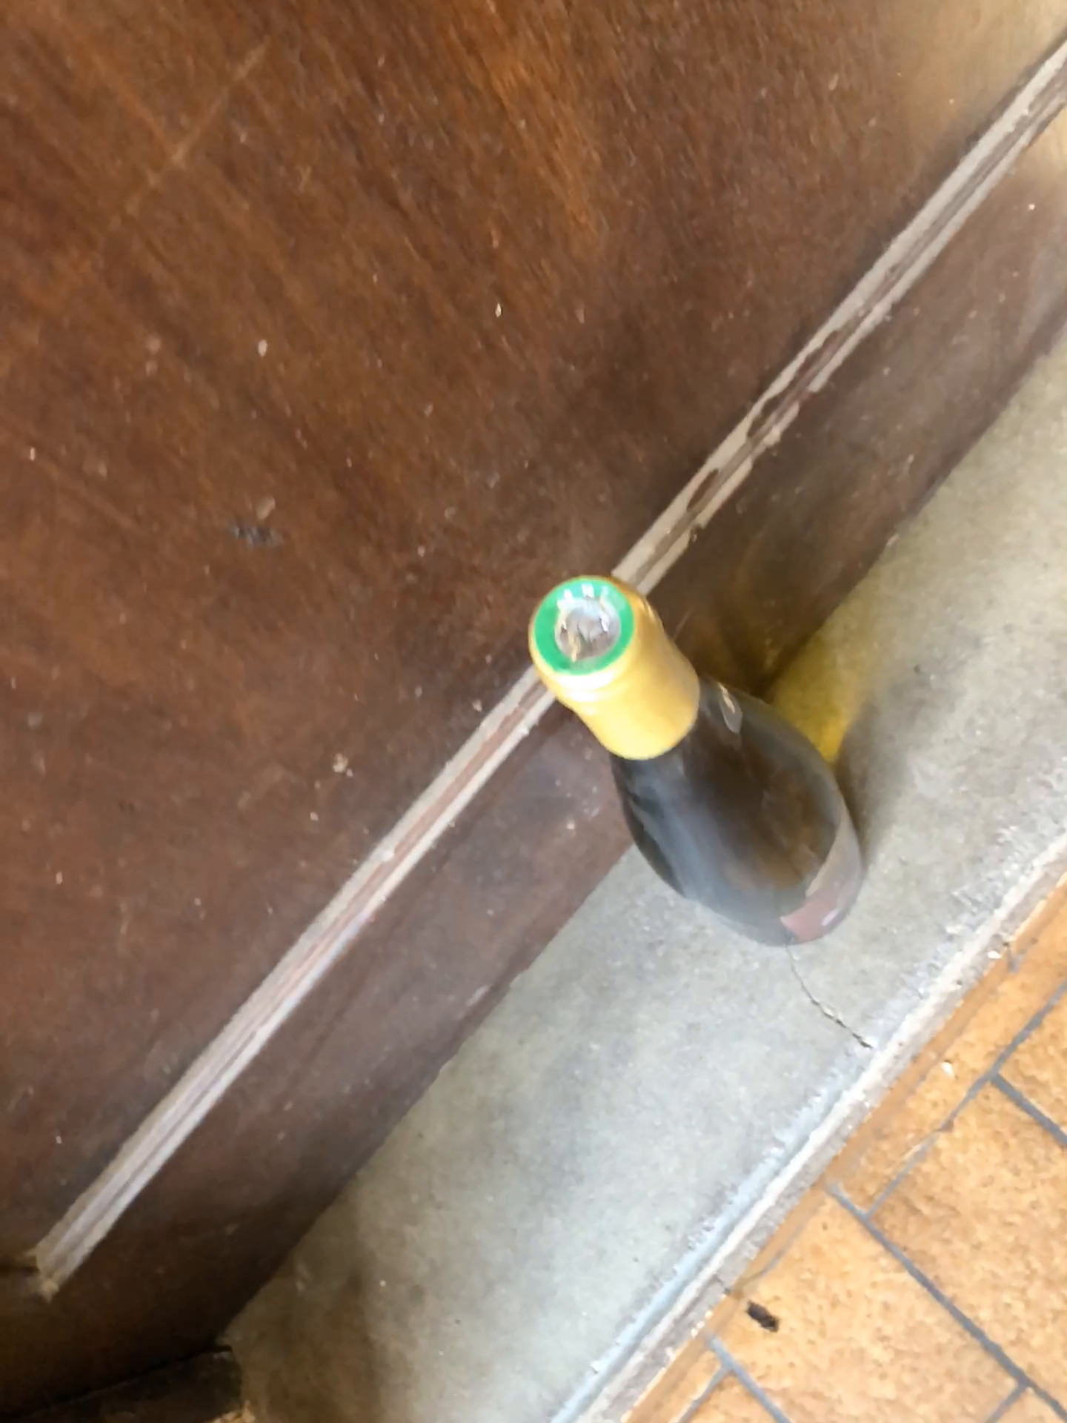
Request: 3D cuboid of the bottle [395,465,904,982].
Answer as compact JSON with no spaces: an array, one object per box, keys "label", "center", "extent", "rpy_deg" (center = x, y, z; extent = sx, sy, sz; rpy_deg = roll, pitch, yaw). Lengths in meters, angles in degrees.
[{"label":"bottle","center":[0.067,0.029,0.392],"extent":[0.080,0.310,0.080],"rpy_deg":[-6,72,18]}]
